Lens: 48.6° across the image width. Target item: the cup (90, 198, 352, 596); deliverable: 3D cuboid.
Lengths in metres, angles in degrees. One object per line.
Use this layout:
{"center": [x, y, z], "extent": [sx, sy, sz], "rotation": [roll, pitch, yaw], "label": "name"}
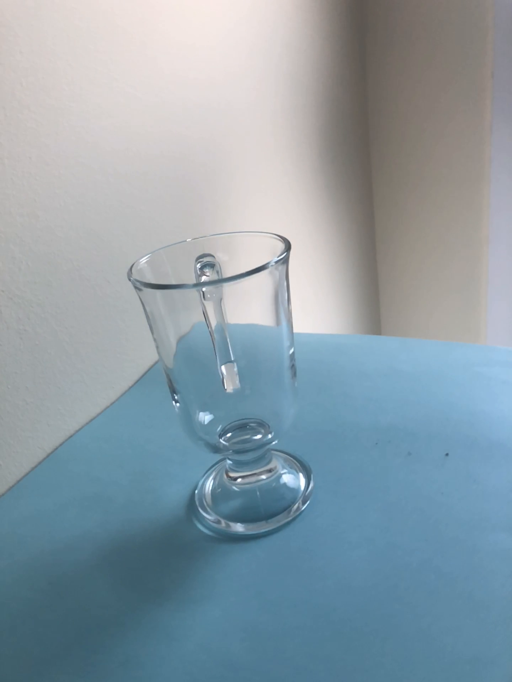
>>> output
{"center": [-0.015, 0.015, 0.238], "extent": [0.070, 0.119, 0.100], "rotation": [-13, 26, -7], "label": "cup"}
